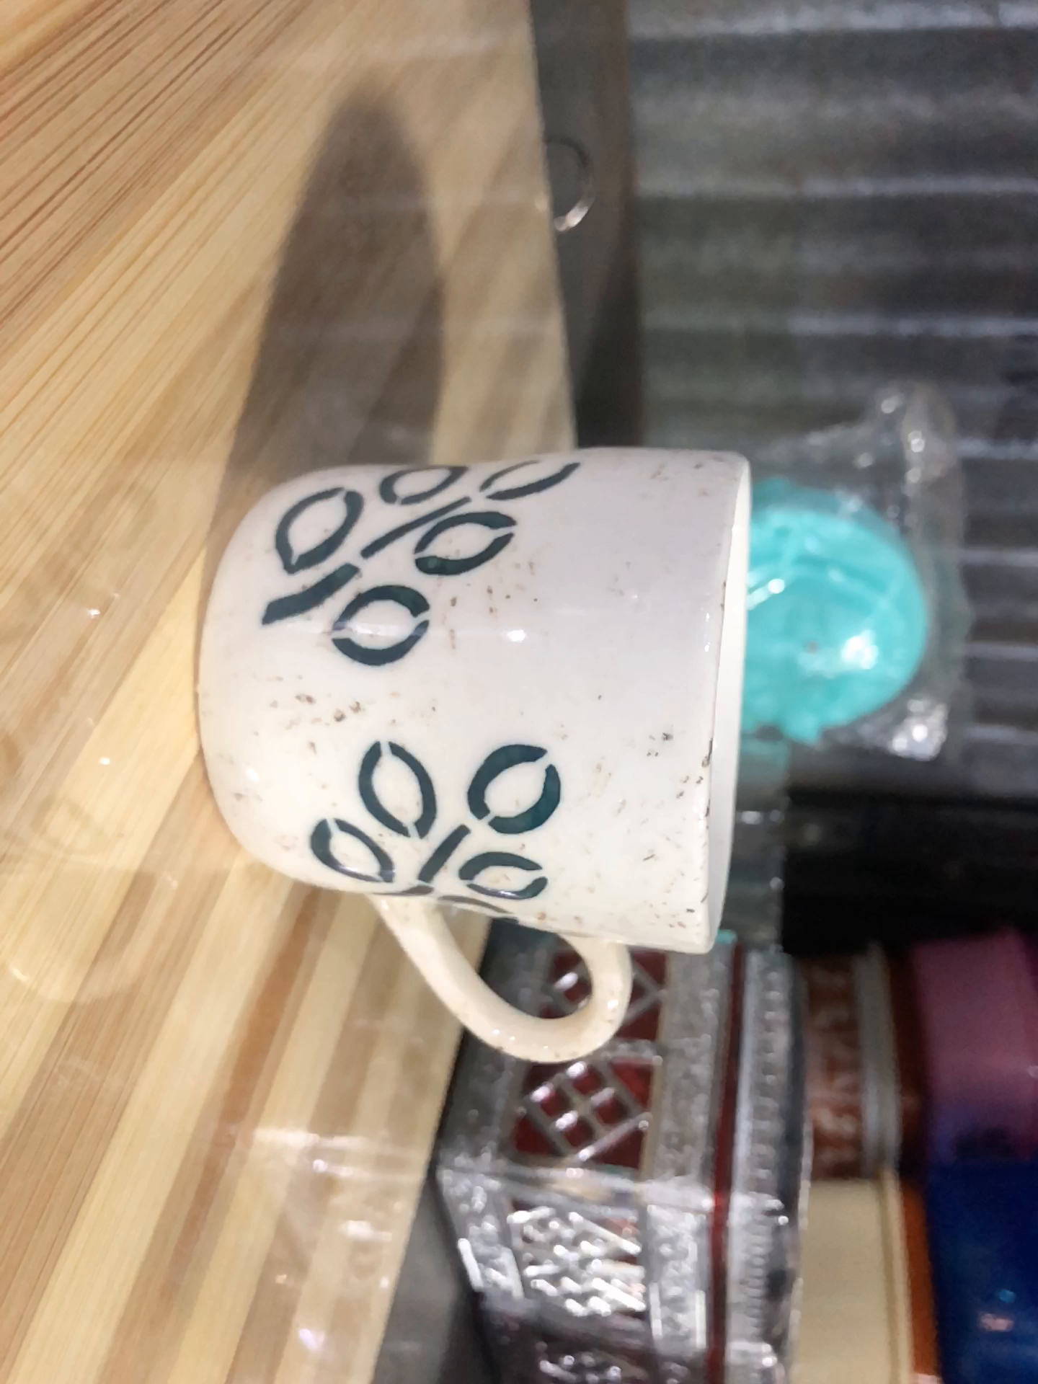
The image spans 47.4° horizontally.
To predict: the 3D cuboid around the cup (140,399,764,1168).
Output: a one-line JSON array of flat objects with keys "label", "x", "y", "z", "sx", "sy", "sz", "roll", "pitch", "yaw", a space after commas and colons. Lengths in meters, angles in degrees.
[{"label": "cup", "x": 0.000, "y": 0.005, "z": 0.184, "sx": 0.080, "sy": 0.070, "sz": 0.090, "roll": -60, "pitch": 150, "yaw": -66}]
